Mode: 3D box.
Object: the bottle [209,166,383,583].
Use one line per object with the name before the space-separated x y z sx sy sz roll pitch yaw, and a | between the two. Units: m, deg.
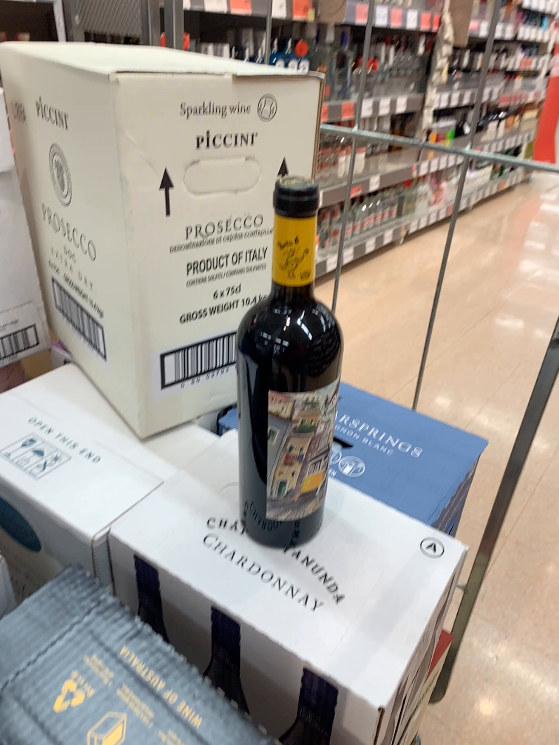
bottle | 0.003 0.011 0.427 0.077 0.295 0.079 3 30 -2
